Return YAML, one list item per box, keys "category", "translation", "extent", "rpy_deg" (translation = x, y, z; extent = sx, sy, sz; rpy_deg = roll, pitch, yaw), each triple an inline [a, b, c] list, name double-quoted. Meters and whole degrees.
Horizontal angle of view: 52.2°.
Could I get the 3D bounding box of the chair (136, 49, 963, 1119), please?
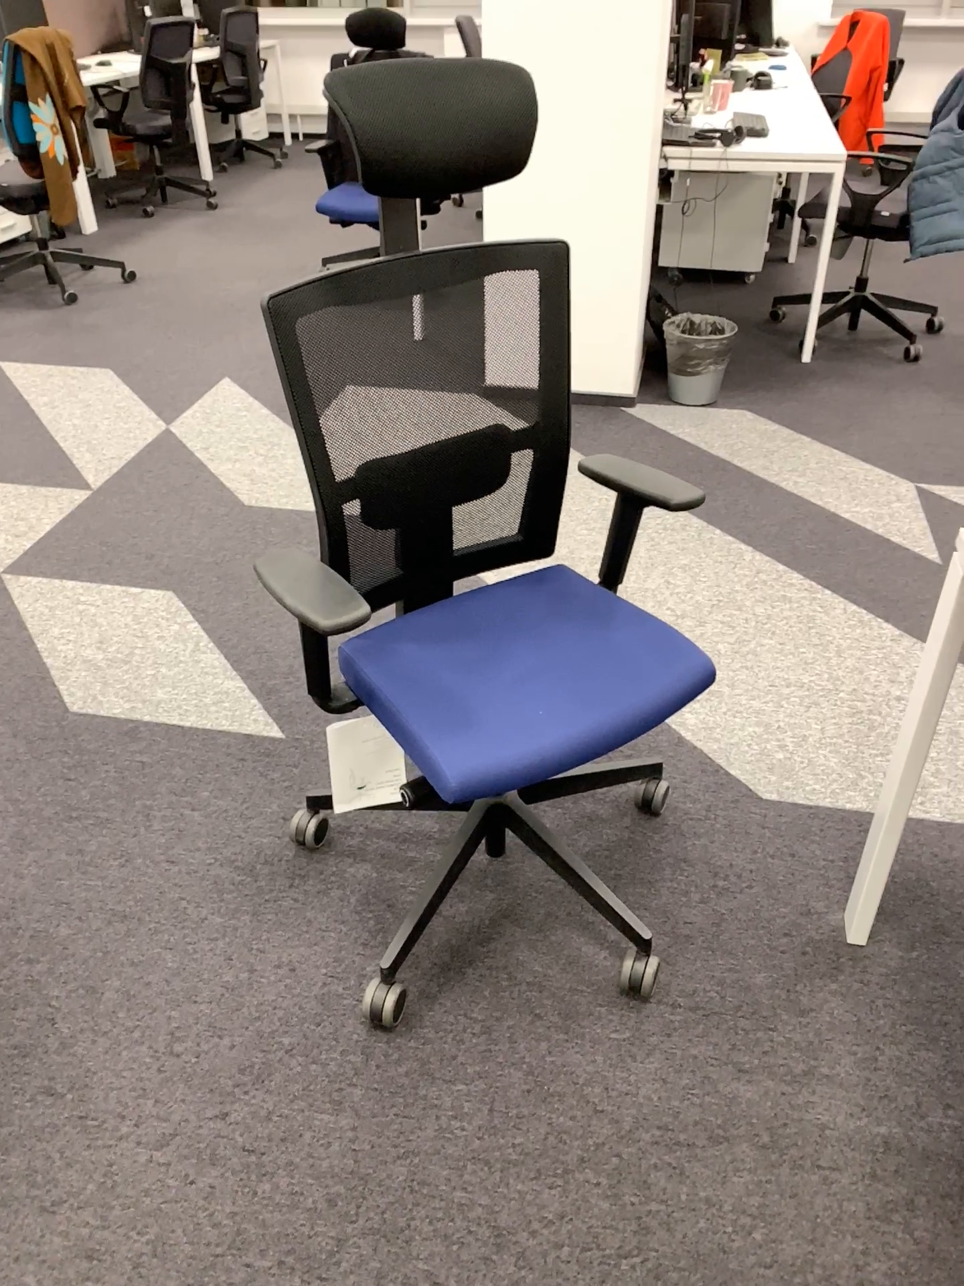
- category: "chair"
  translation: [0.061, -0.100, 1.430]
  extent: [0.731, 1.243, 0.673]
  rpy_deg: [-16, 38, -21]
